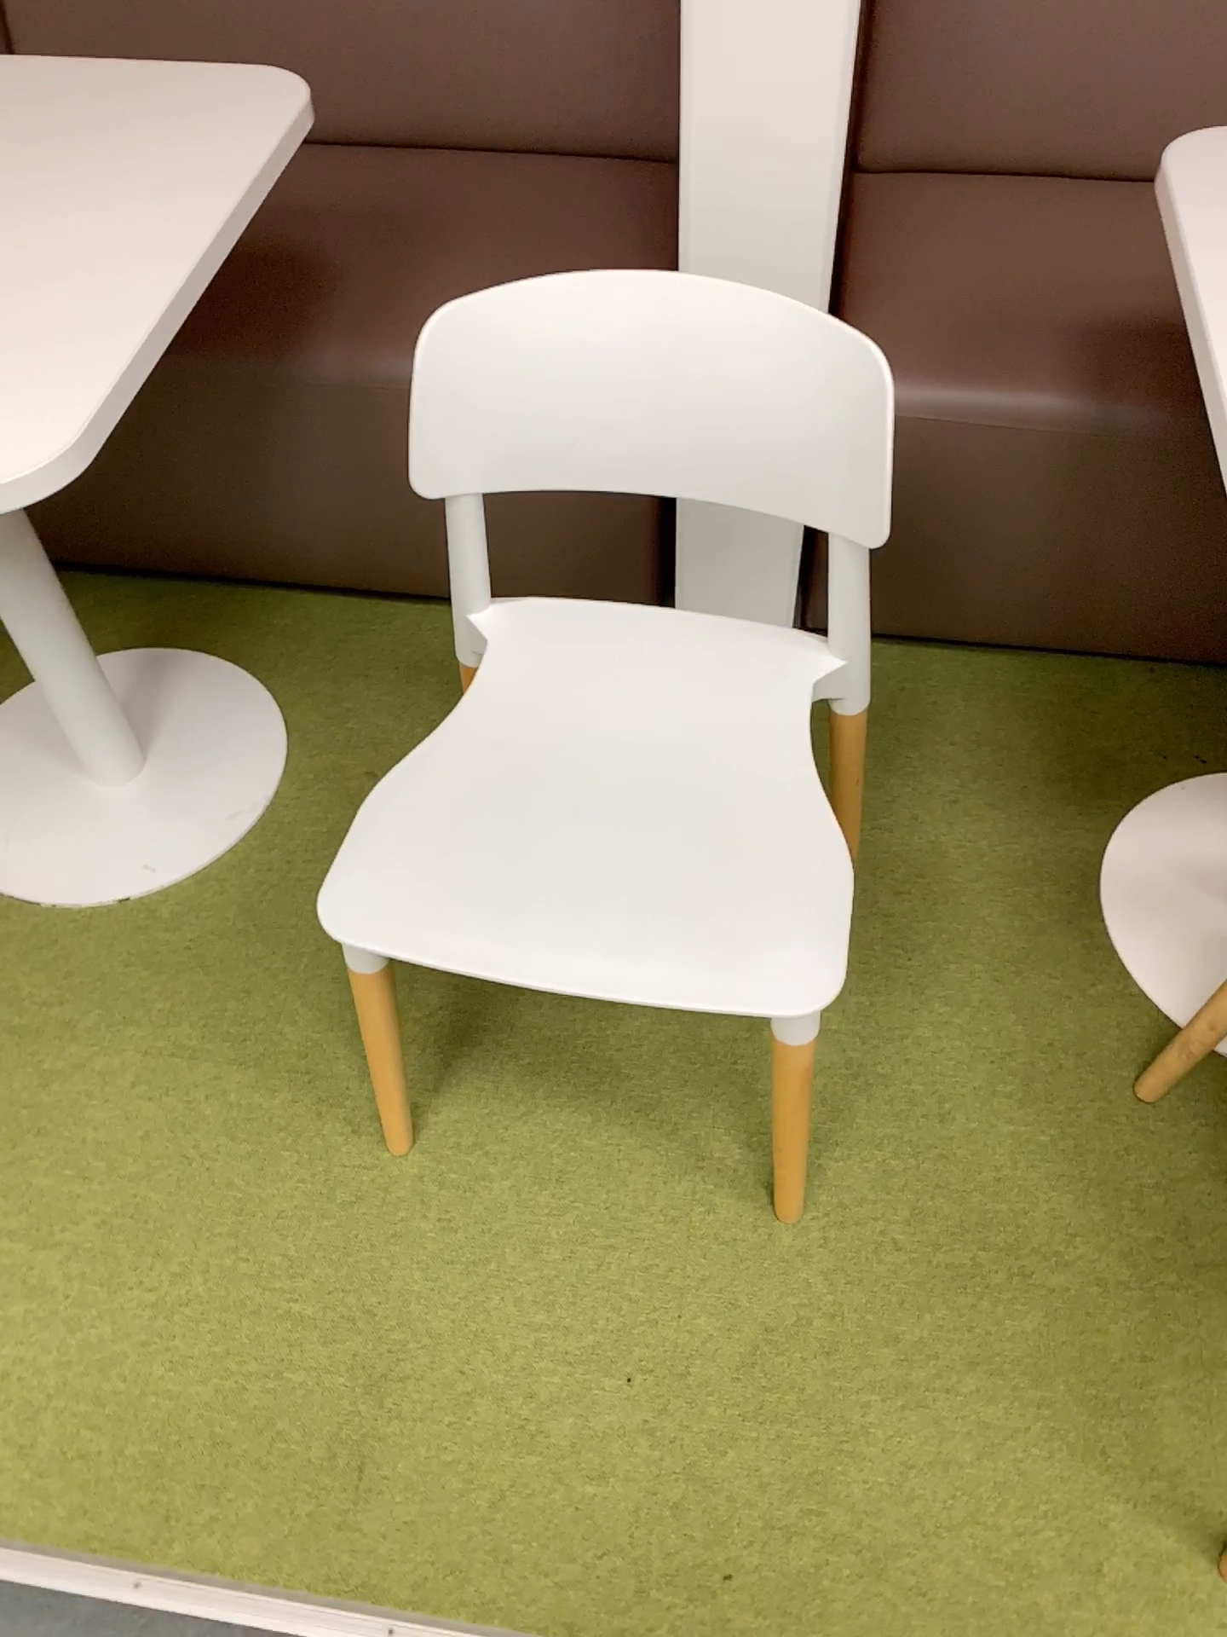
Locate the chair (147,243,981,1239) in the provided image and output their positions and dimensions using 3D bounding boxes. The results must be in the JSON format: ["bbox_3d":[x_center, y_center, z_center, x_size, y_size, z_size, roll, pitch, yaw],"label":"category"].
[{"bbox_3d":[0.012,-0.026,1.211,0.500,0.787,0.502,8,53,8],"label":"chair"}]
